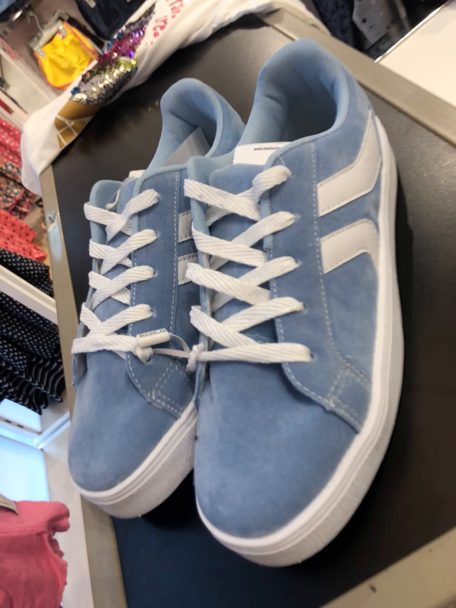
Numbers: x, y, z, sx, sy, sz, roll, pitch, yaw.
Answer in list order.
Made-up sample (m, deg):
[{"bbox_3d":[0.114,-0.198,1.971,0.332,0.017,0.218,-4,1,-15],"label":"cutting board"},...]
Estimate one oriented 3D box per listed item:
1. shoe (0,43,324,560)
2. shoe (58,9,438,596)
[{"bbox_3d":[-0.037,-0.005,0.291,0.100,0.119,0.241,-3,58,37],"label":"shoe"},{"bbox_3d":[0.035,-0.005,0.258,0.100,0.119,0.241,-6,56,35],"label":"shoe"}]
